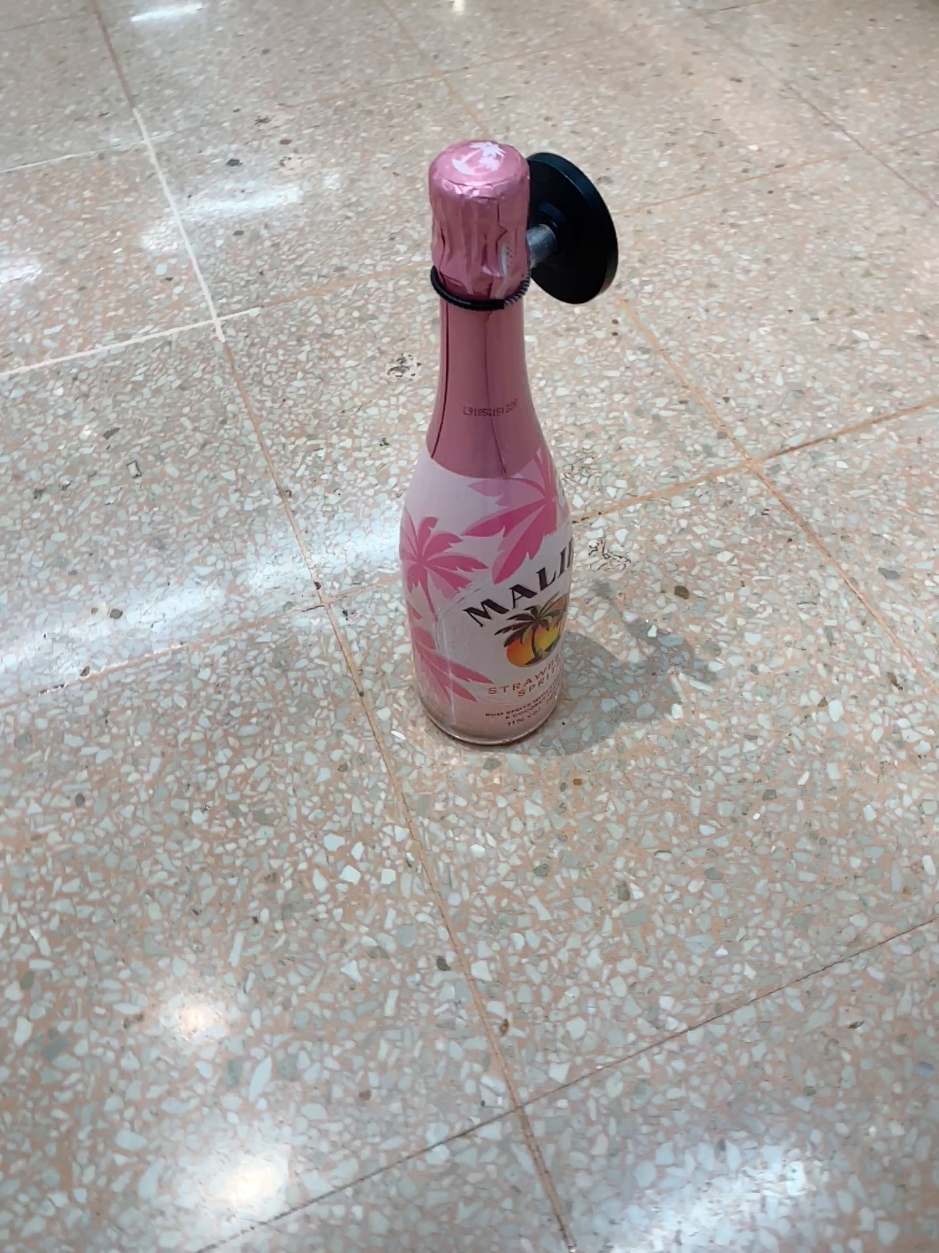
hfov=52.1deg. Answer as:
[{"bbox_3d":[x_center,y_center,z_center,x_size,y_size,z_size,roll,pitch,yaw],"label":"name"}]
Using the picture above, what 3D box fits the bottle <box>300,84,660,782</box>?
[{"bbox_3d":[0.007,-0.052,0.425,0.080,0.308,0.080,-1,54,1],"label":"bottle"}]
